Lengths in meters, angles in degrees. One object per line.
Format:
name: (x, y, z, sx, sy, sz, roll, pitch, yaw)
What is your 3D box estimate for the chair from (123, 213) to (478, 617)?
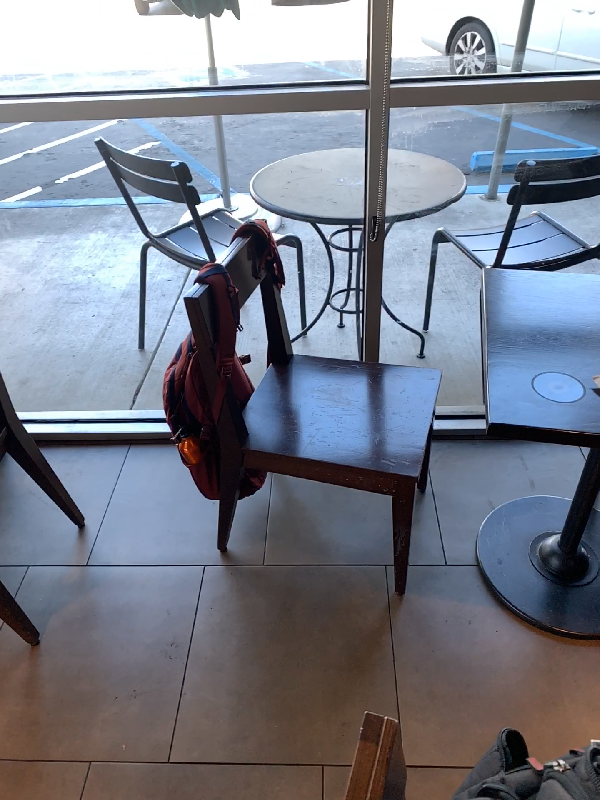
chair: (0.070, 0.017, 1.811, 0.741, 0.855, 0.693, 8, 40, 14)
